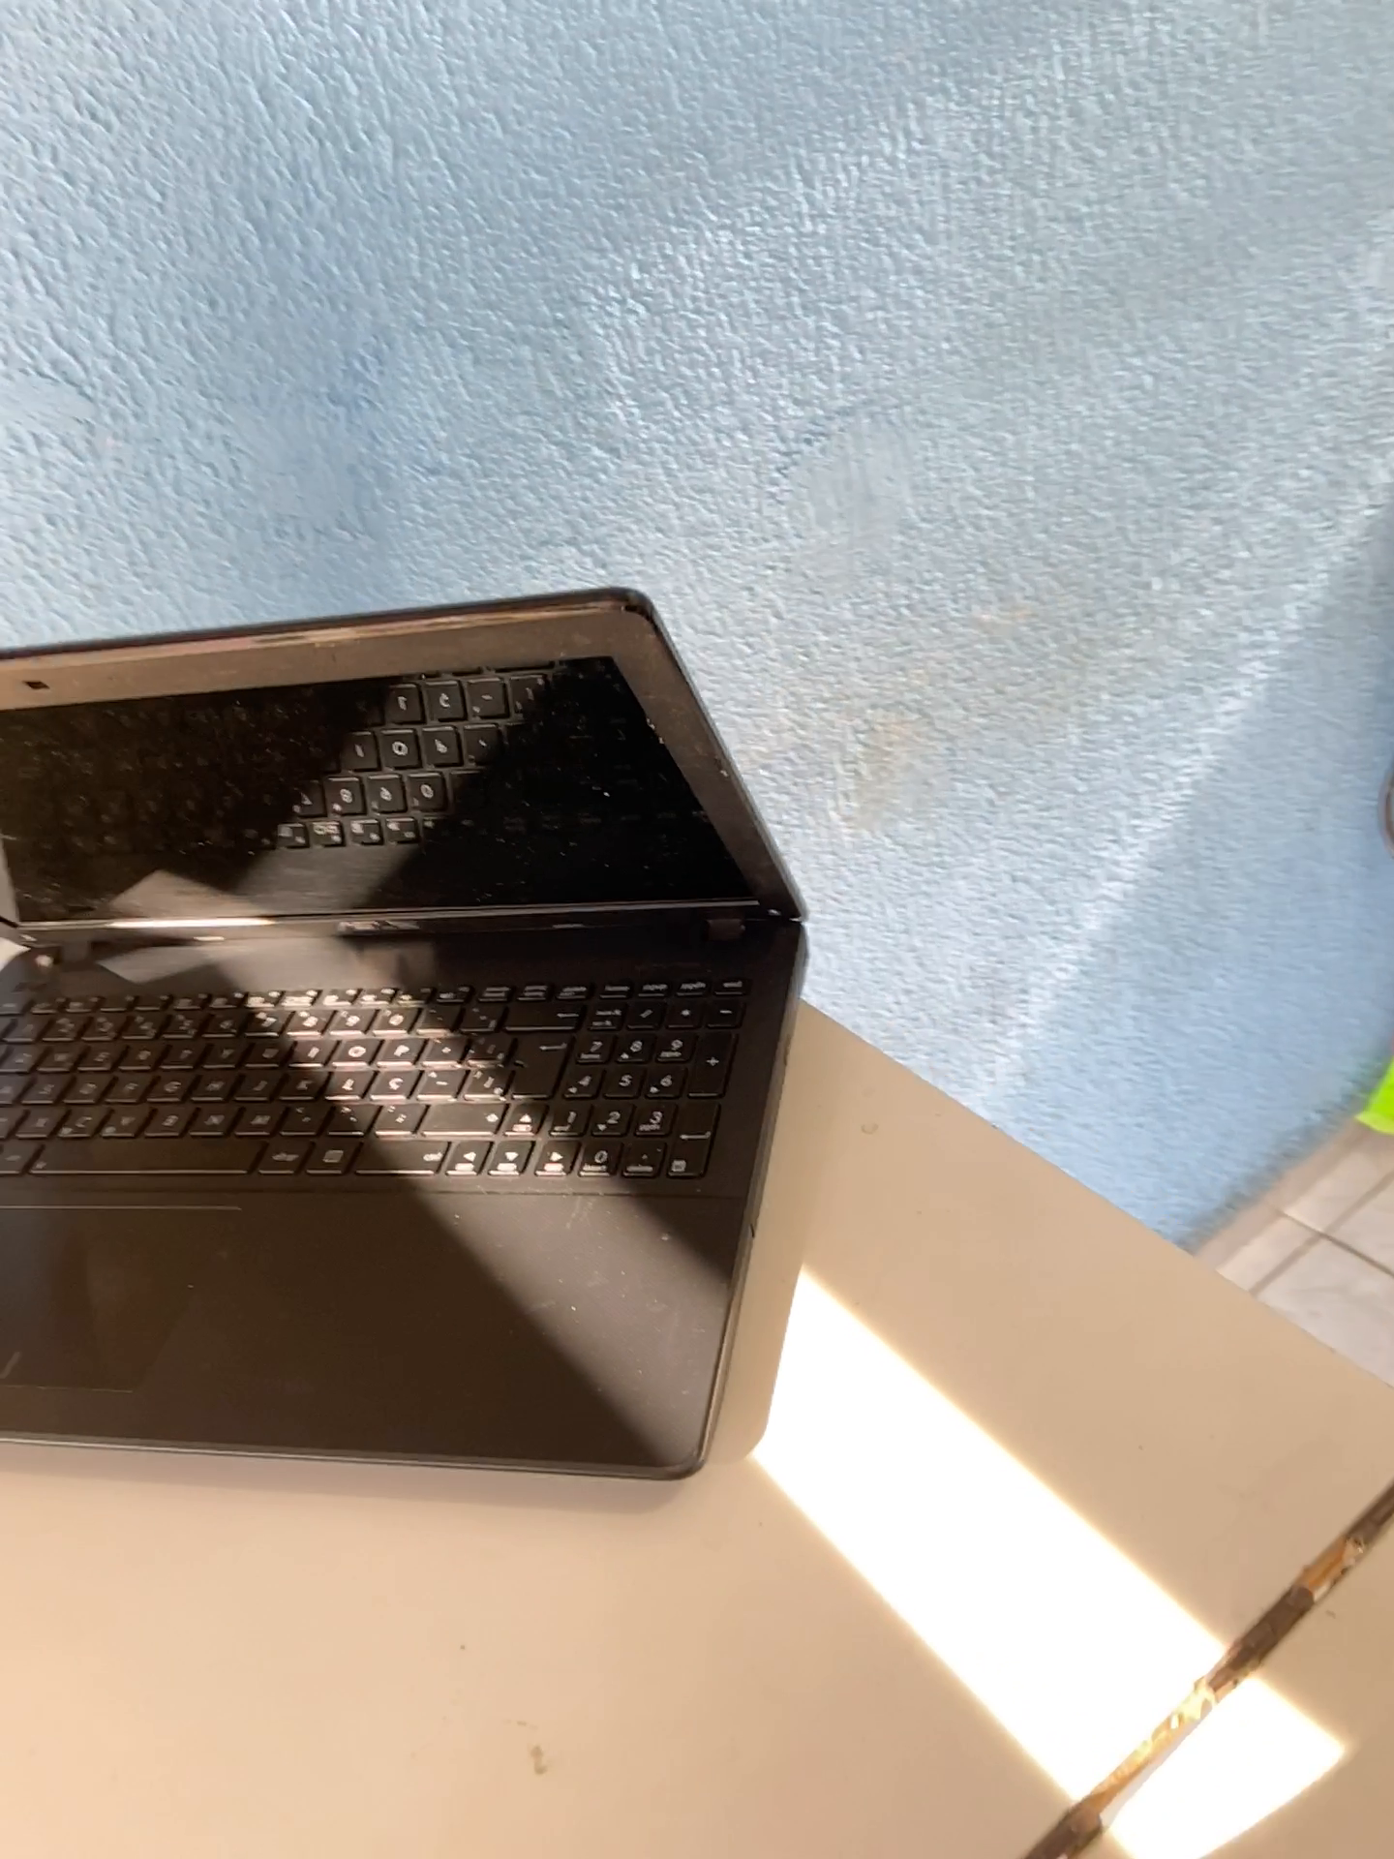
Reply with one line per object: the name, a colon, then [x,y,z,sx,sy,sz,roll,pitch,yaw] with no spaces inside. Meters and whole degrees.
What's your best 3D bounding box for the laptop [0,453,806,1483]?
laptop: [-0.175,0.003,0.477,0.373,0.190,0.240,-2,35,16]
